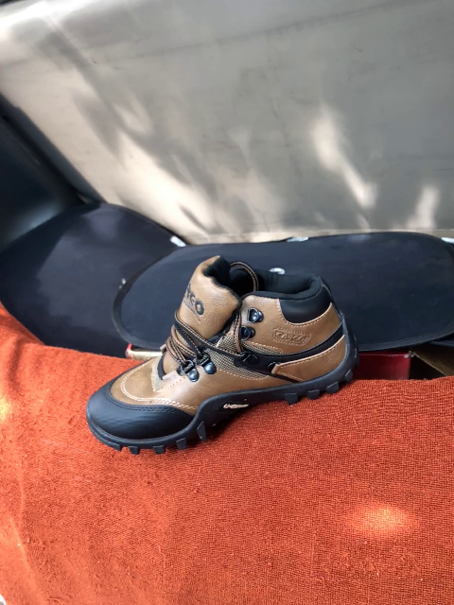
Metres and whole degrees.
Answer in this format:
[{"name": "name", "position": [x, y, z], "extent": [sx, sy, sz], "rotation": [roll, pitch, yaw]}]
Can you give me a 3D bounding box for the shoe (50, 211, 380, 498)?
[{"name": "shoe", "position": [-0.006, 0.044, 0.488], "extent": [0.270, 0.149, 0.110], "rotation": [-22, 35, -8]}]
